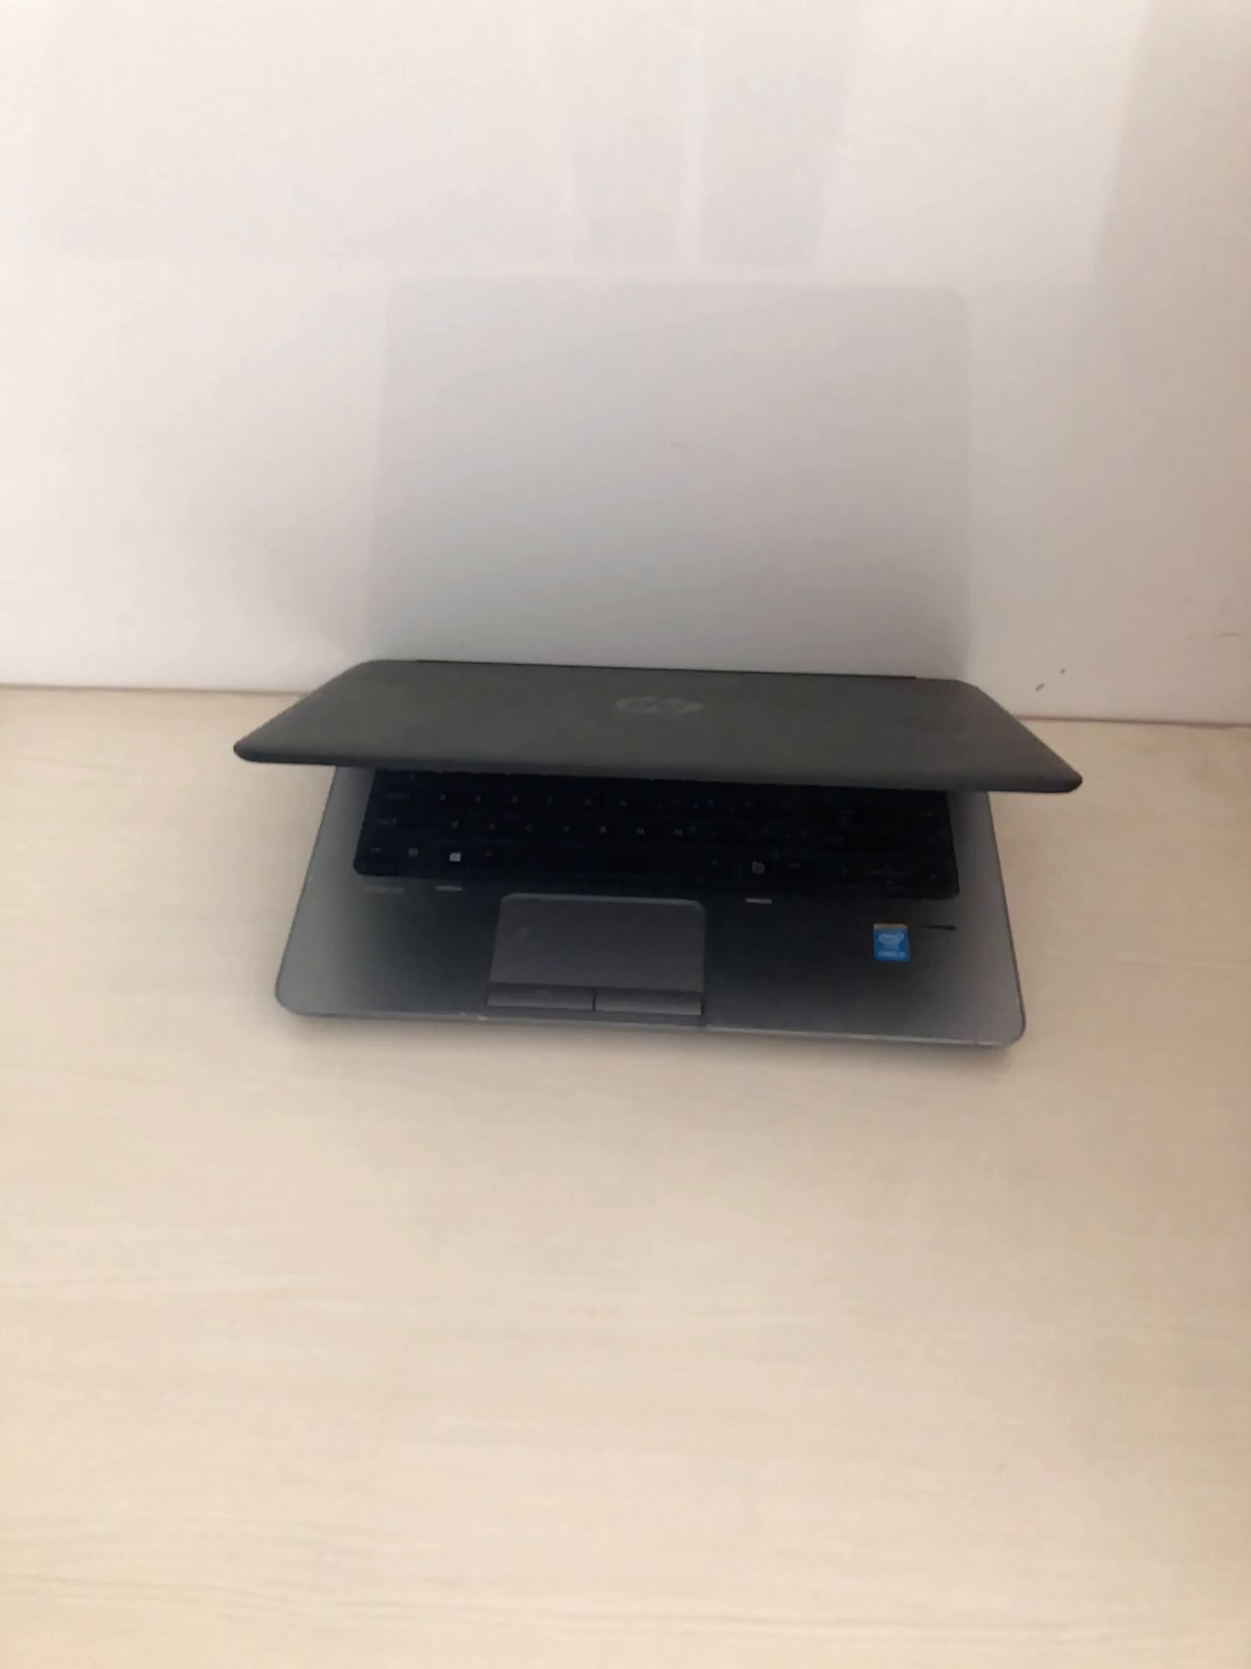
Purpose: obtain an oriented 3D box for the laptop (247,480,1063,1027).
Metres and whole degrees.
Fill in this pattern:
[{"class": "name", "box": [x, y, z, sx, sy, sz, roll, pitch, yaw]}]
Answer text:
[{"class": "laptop", "box": [0.017, -0.045, 0.654, 0.319, 0.118, 0.221, 3, 49, 1]}]
